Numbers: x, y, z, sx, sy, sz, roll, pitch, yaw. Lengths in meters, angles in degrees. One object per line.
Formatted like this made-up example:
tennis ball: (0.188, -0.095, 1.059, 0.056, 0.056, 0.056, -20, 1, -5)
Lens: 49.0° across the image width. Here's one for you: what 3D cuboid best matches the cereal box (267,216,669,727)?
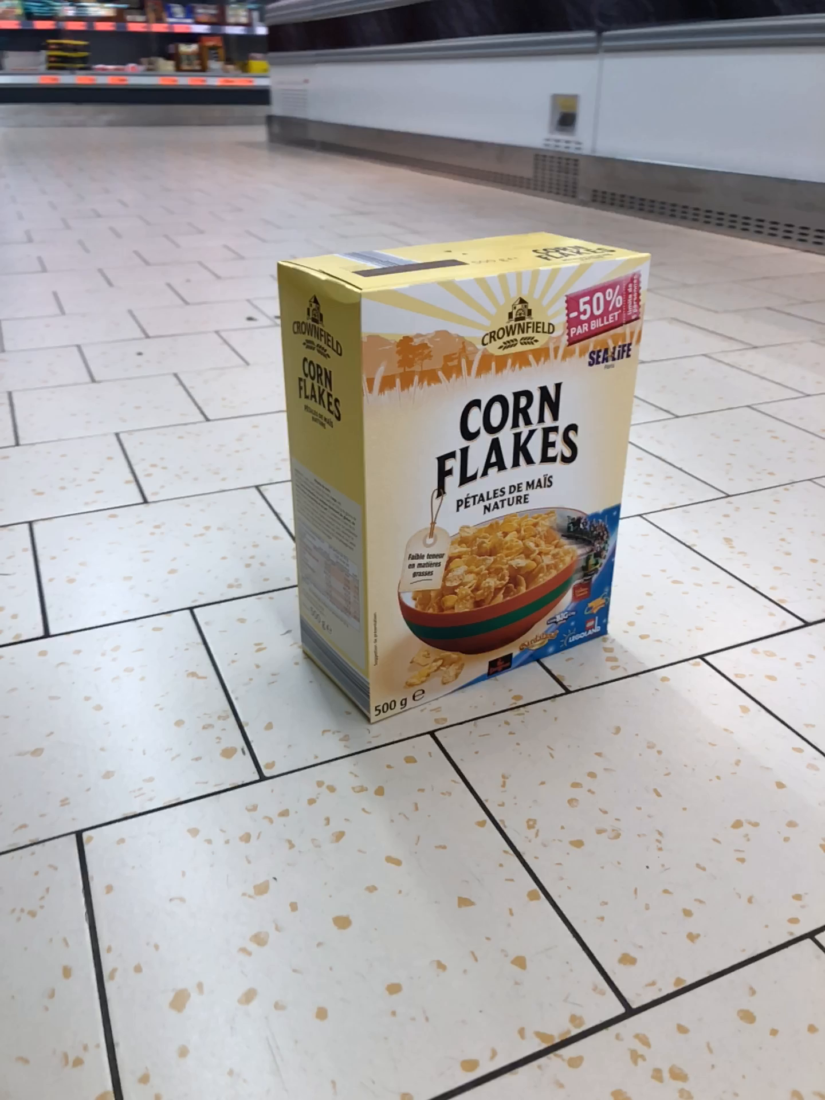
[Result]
cereal box: (0.033, -0.056, 0.554, 0.201, 0.259, 0.100, -16, 30, -29)
